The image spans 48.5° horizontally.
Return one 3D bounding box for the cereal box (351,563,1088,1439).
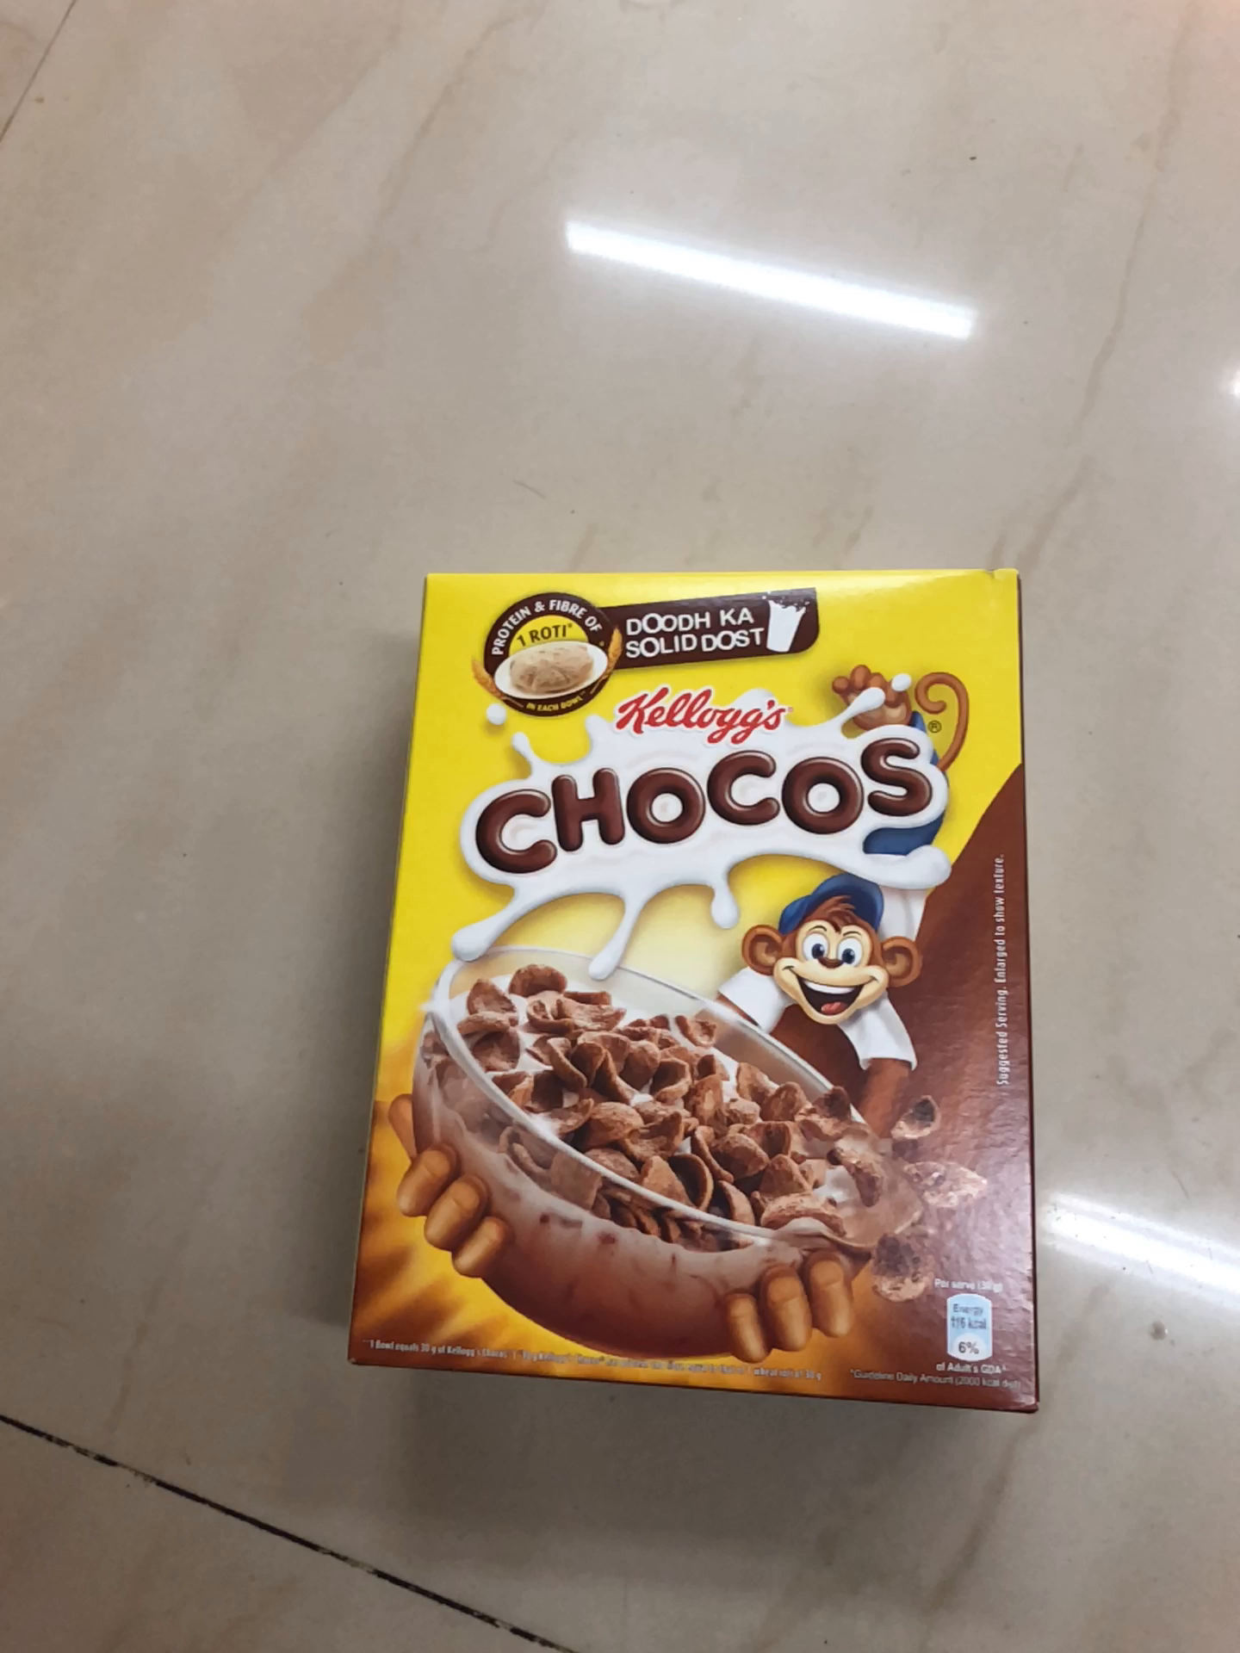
[{"bbox_3d":[0.025,0.032,0.304,0.140,0.050,0.170,2,78,7],"label":"cereal box"}]
